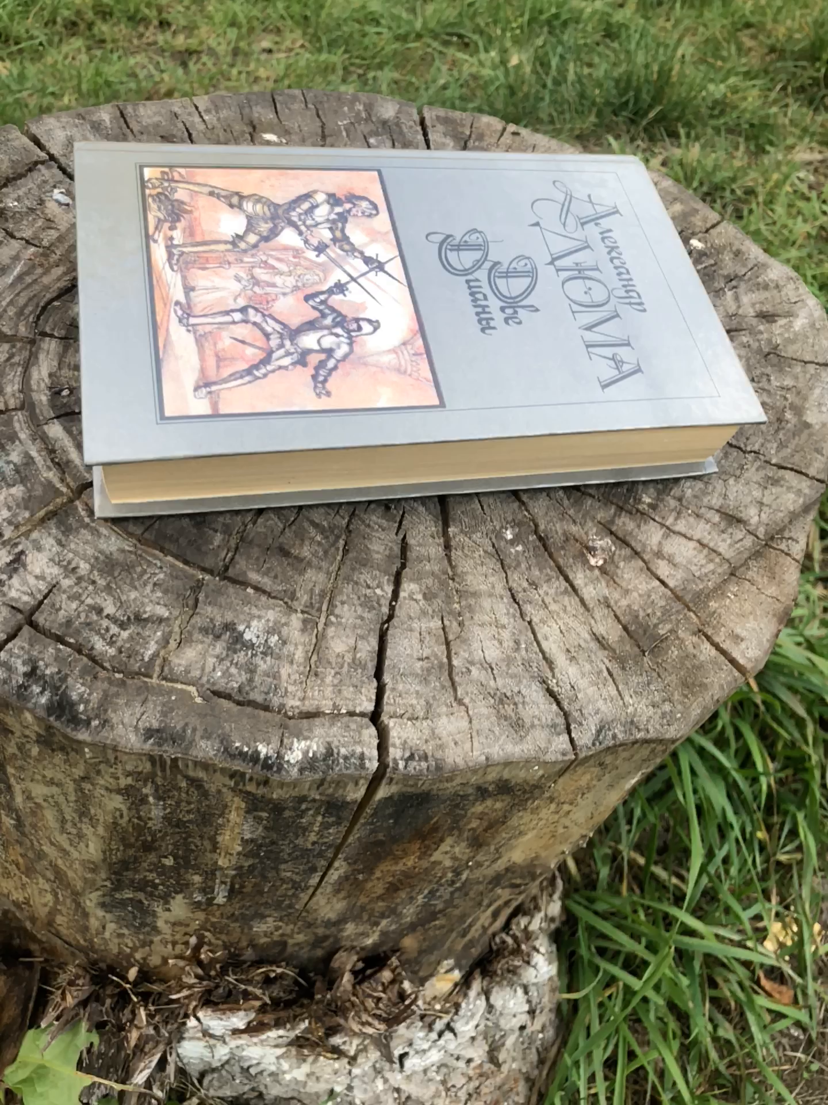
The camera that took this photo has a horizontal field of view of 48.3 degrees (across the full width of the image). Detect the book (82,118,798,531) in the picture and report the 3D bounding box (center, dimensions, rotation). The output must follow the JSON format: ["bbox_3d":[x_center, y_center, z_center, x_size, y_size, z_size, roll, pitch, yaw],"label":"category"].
[{"bbox_3d":[0.002,-0.082,0.302,0.204,0.030,0.140,-5,60,-14],"label":"book"}]
